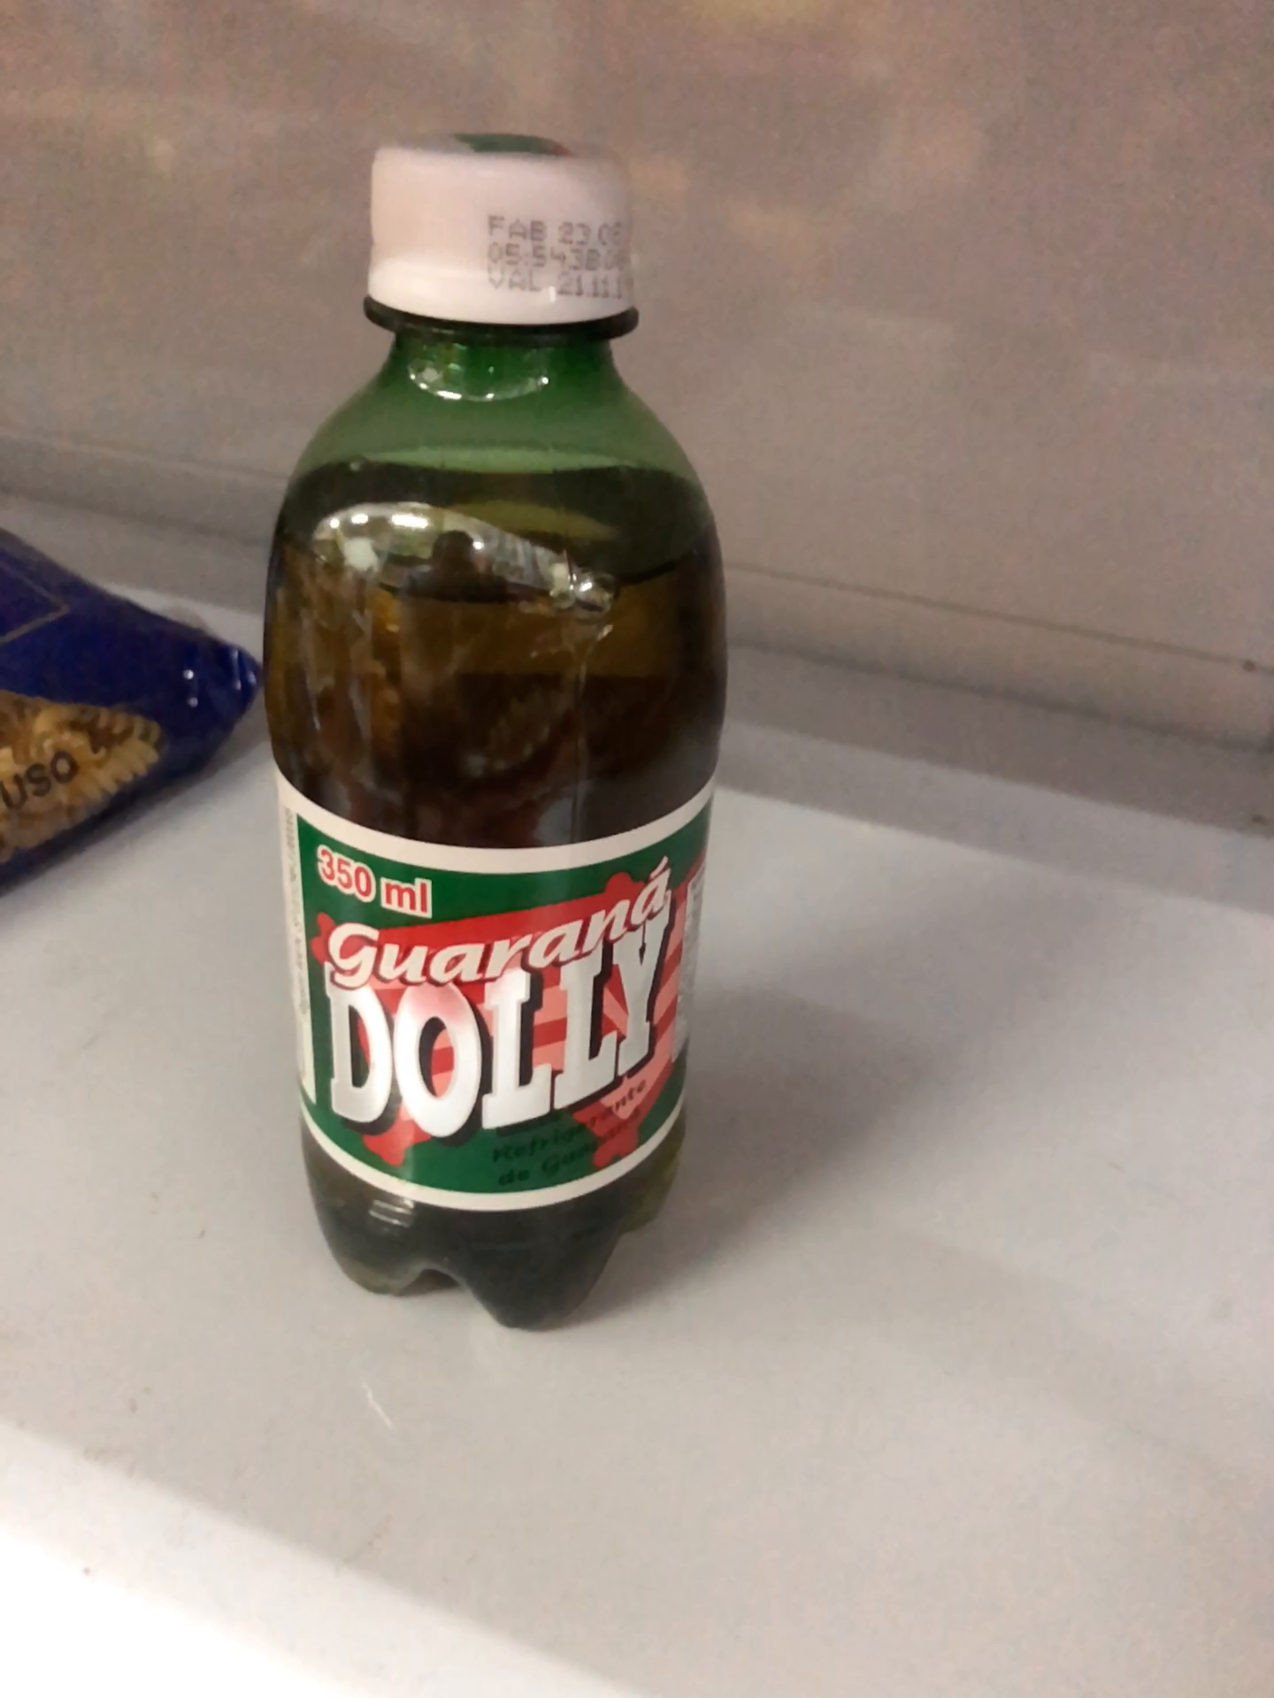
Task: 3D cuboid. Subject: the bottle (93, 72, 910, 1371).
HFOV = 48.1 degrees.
[{"bbox_3d":[-0.021,-0.012,0.217,0.080,0.179,0.071,-3,33,-9],"label":"bottle"}]
